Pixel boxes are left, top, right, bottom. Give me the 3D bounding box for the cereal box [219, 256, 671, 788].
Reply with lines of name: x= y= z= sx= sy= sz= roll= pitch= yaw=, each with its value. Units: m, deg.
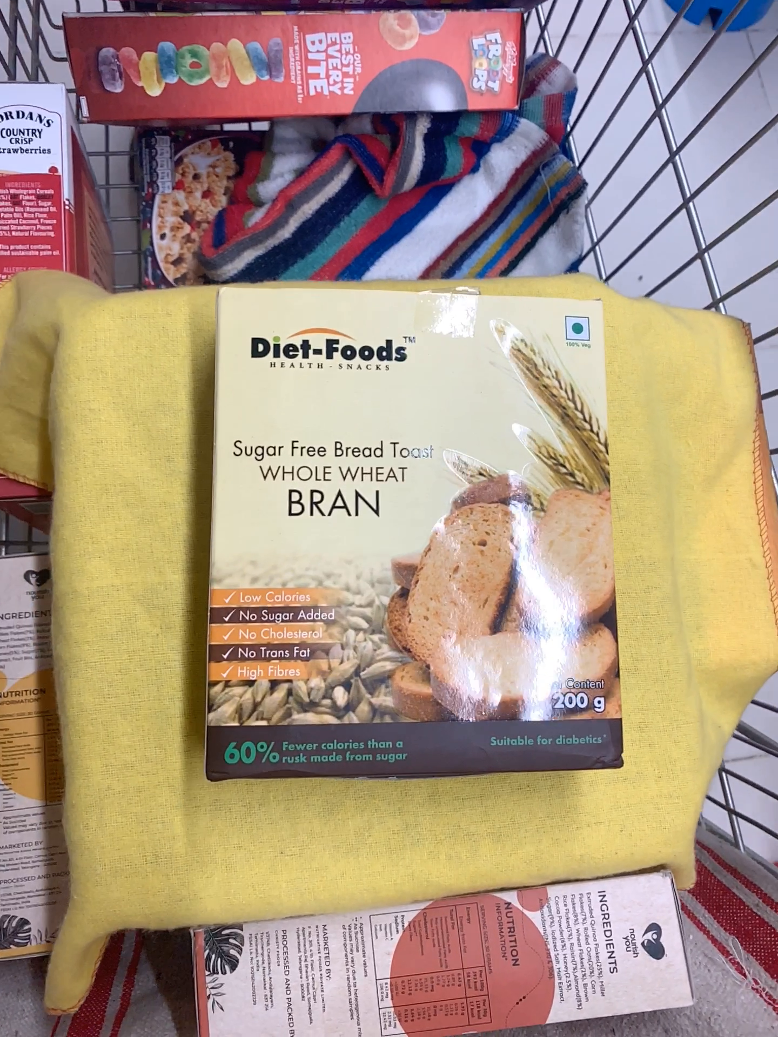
cereal box: x=0.016 y=0.001 z=0.284 sx=0.140 sy=0.050 sz=0.170 roll=0 pitch=80 yaw=-6
